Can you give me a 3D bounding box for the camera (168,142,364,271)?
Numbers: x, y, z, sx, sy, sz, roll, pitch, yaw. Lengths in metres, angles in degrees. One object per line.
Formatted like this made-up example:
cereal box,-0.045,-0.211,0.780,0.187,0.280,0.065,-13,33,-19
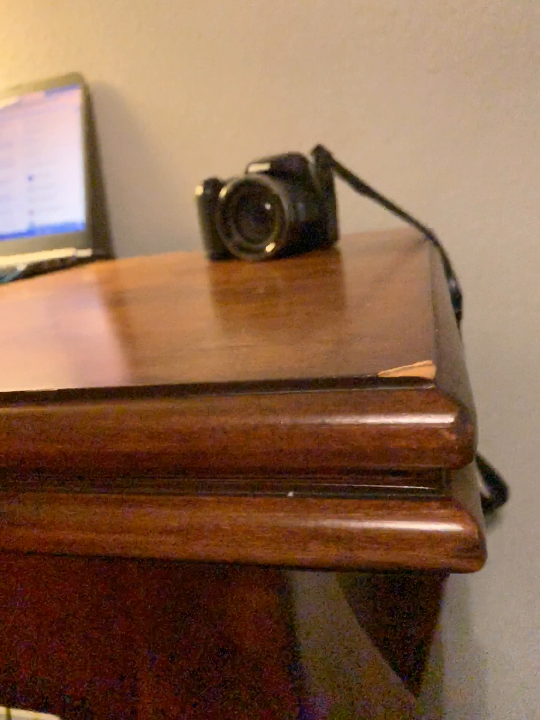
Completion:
camera,0.002,-0.129,0.483,0.110,0.081,0.123,1,16,31
